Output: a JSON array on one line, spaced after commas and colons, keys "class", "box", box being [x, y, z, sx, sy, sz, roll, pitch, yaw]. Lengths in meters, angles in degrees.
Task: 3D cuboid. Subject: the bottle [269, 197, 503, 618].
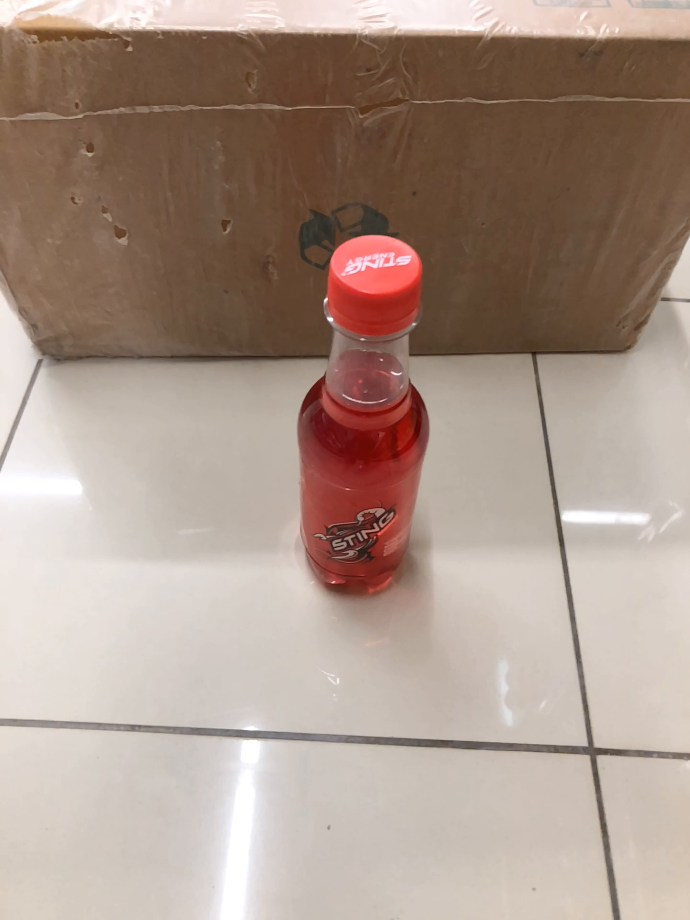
[{"class": "bottle", "box": [0.012, -0.009, 0.320, 0.070, 0.179, 0.070, 1, 52, -1]}]
